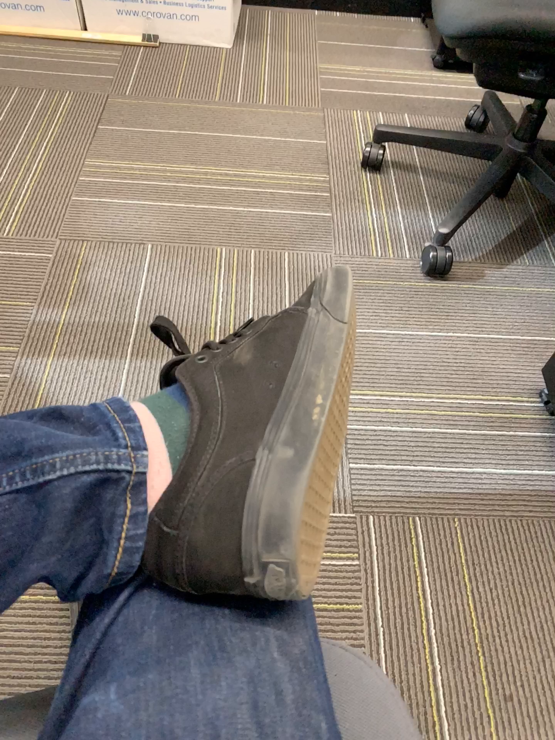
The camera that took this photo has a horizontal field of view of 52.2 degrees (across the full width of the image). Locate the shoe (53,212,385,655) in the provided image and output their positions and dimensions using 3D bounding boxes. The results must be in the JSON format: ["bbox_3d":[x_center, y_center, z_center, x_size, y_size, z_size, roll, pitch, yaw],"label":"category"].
[{"bbox_3d":[-0.012,0.026,0.387,0.134,0.120,0.261,7,53,11],"label":"shoe"}]
